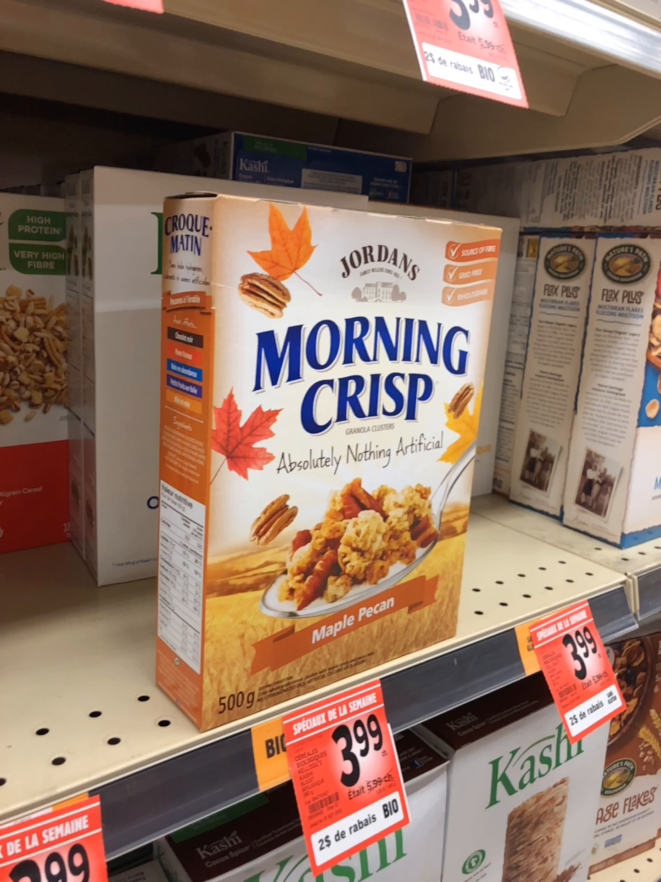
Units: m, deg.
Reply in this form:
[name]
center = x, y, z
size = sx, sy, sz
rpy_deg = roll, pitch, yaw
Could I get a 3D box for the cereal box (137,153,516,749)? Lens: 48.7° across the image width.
[cereal box]
center = 0.001, 0.002, 0.385
size = 0.190, 0.259, 0.050
rpy_deg = -6, 17, -38
